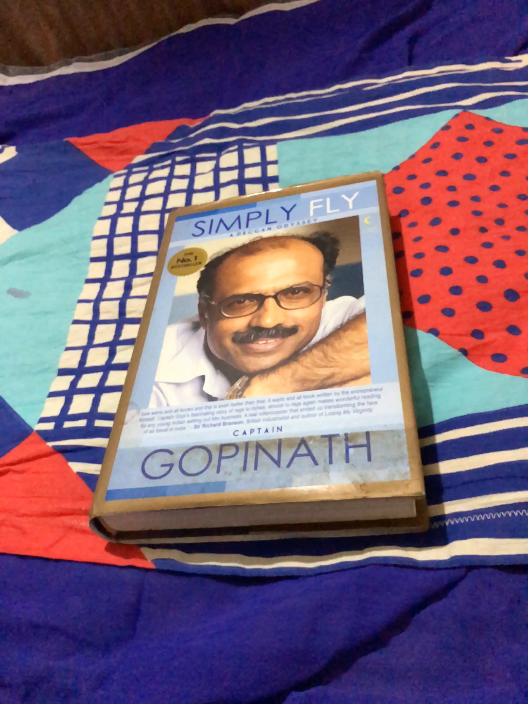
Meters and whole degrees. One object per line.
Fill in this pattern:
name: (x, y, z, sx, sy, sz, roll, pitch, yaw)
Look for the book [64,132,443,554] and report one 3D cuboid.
book: (0.001, -0.021, 0.339, 0.160, 0.050, 0.251, -6, 50, 12)
